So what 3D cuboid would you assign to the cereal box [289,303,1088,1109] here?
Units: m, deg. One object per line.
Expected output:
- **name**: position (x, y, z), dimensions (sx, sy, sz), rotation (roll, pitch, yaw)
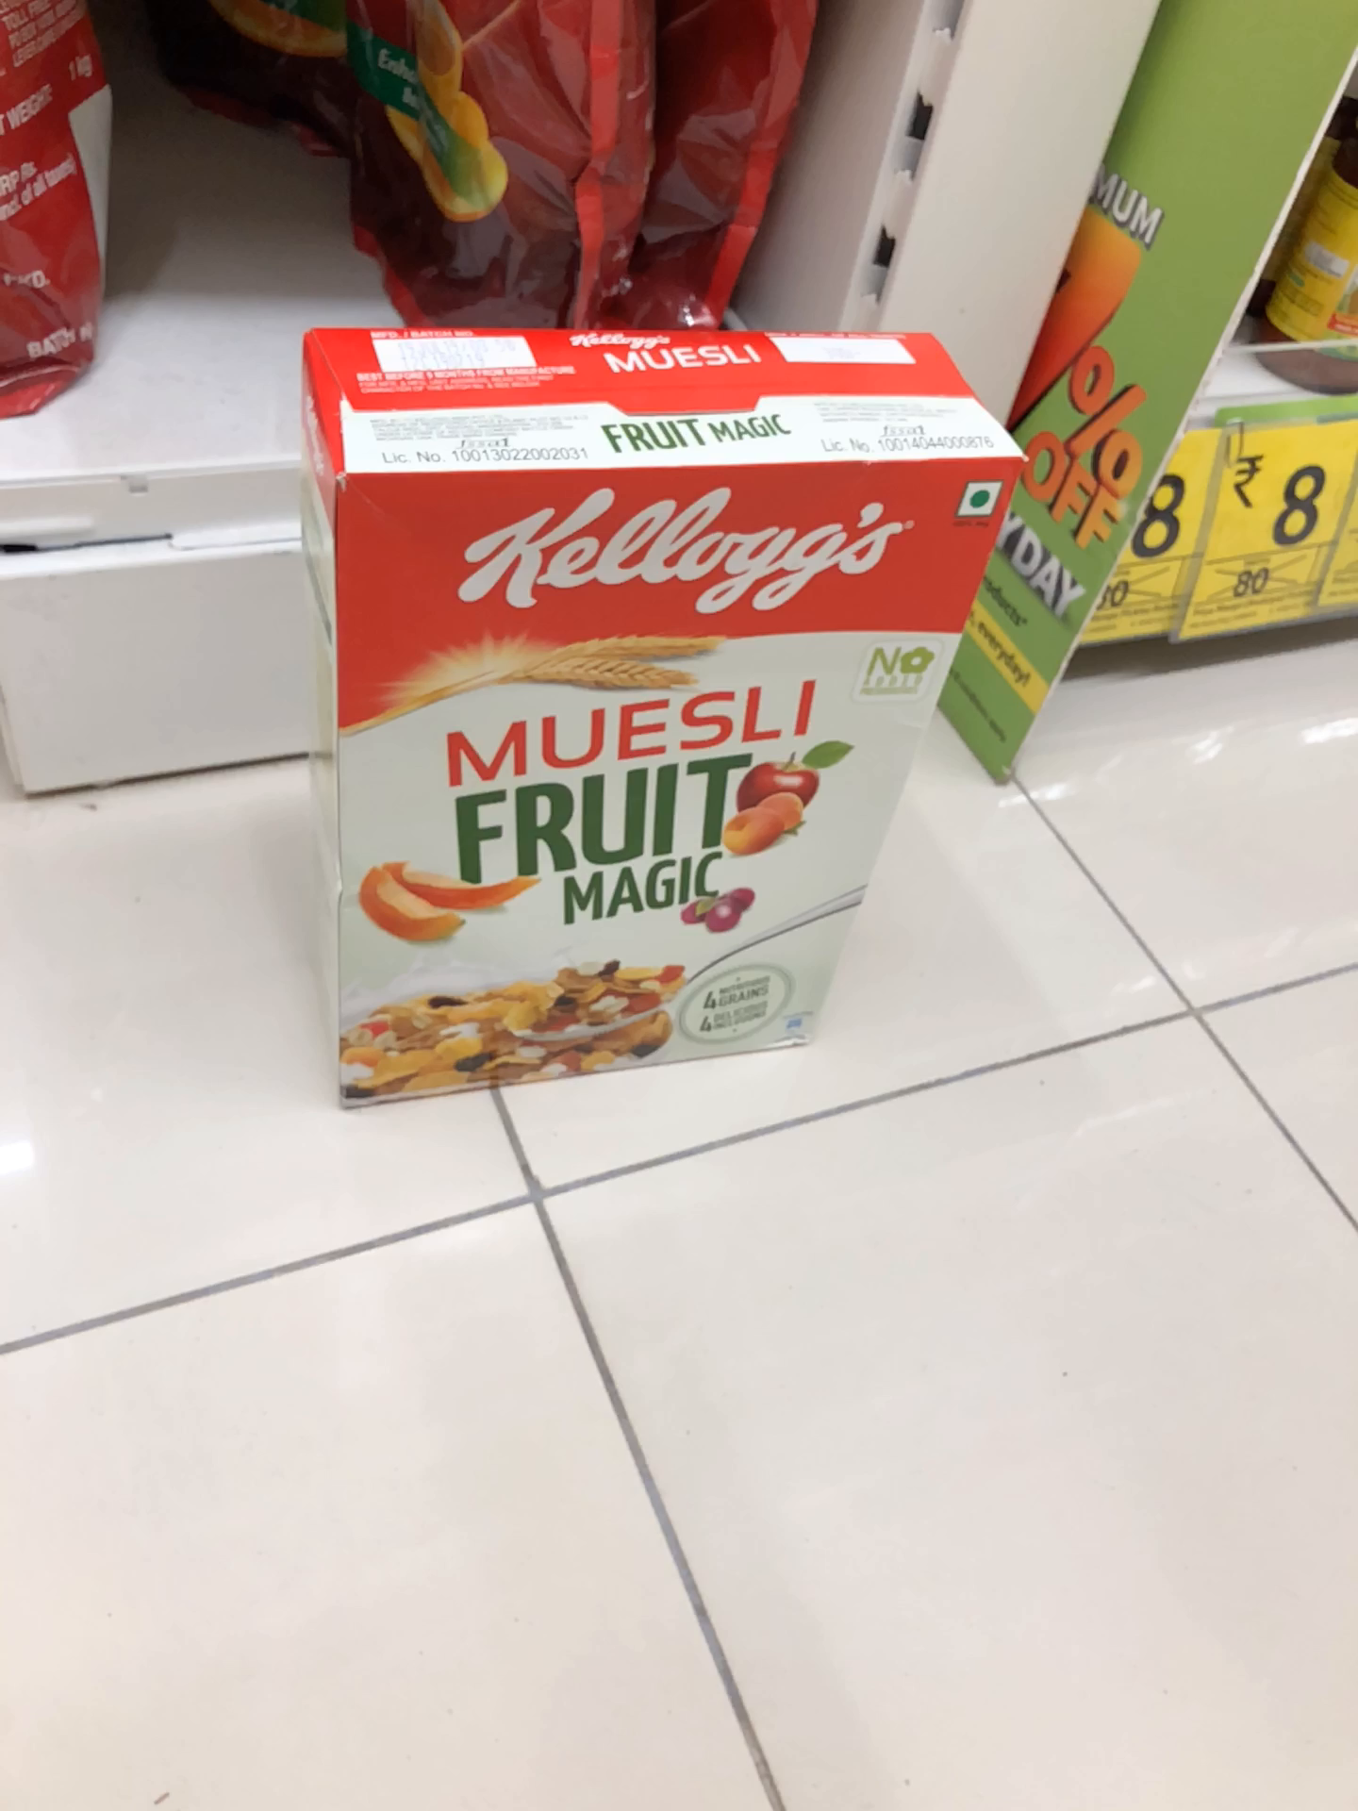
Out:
- **cereal box**: position (-0.015, -0.052, 0.468), dimensions (0.190, 0.238, 0.080), rotation (-7, 50, -18)
